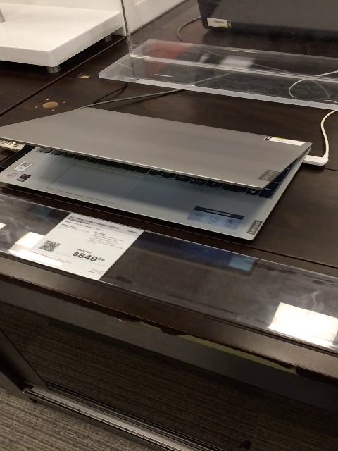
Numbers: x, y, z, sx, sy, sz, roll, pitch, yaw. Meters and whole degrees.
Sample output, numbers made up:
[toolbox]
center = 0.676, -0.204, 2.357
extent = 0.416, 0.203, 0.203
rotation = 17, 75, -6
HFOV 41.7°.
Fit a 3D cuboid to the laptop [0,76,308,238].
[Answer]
[laptop]
center = -0.025, -0.118, 0.643
extent = 0.363, 0.074, 0.224
rotation = 16, 48, 22
